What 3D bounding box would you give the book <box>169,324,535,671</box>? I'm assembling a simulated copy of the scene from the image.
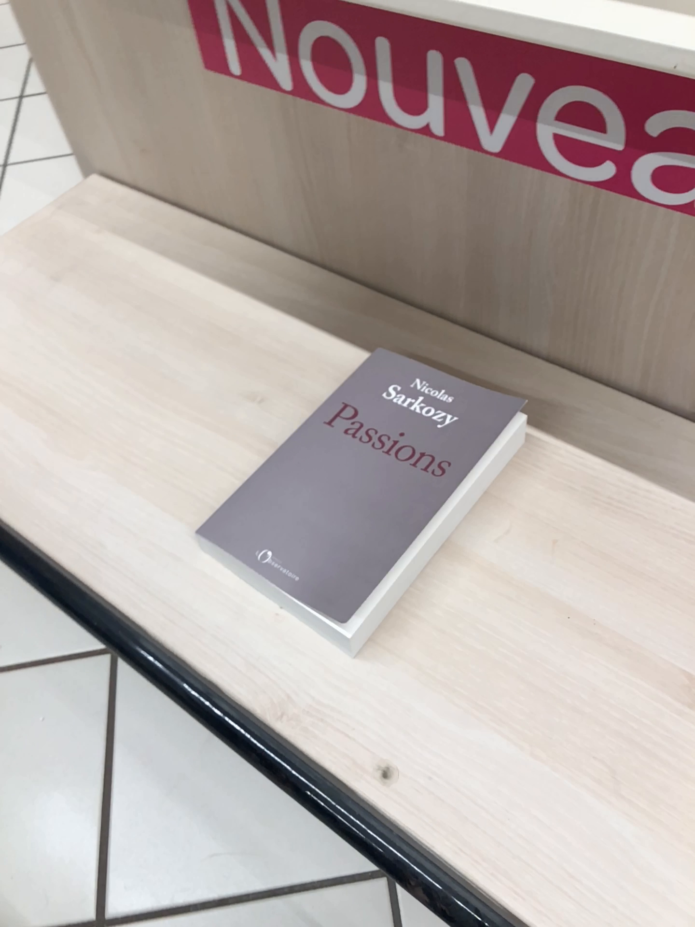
[{"bbox_3d":[0.009,0.010,0.558,0.157,0.044,0.225,29,62,25],"label":"book"}]
